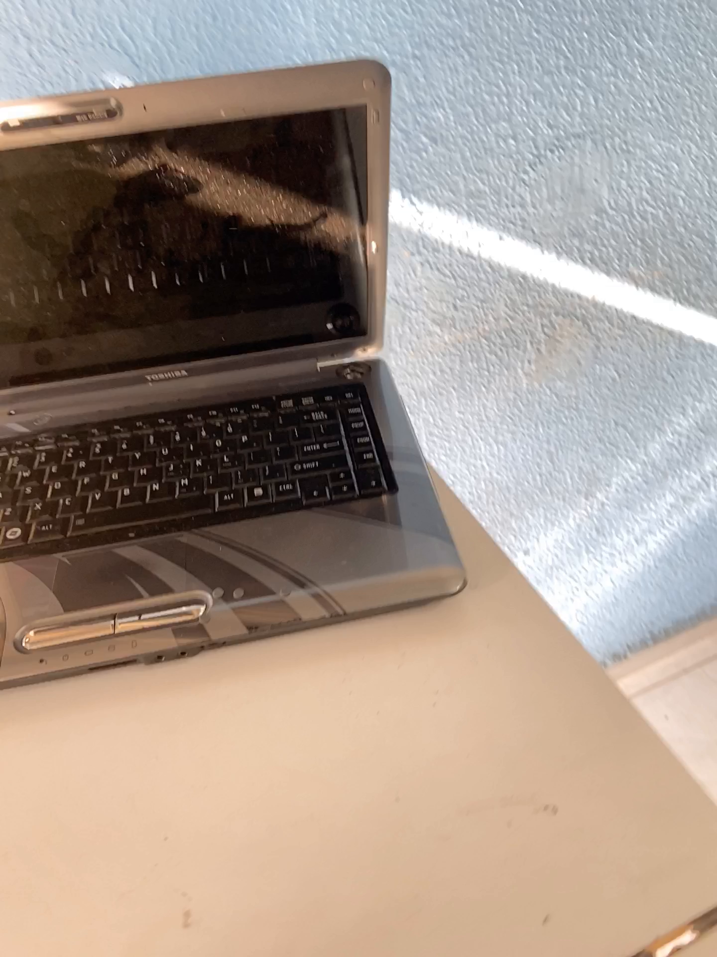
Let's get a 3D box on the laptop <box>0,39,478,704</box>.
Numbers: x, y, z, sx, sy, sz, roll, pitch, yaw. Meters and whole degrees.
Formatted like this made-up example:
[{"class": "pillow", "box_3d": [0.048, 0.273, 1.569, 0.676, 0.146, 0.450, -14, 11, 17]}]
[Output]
[{"class": "laptop", "box_3d": [-0.144, -0.081, 0.435, 0.358, 0.235, 0.260, -10, 39, -5]}]
